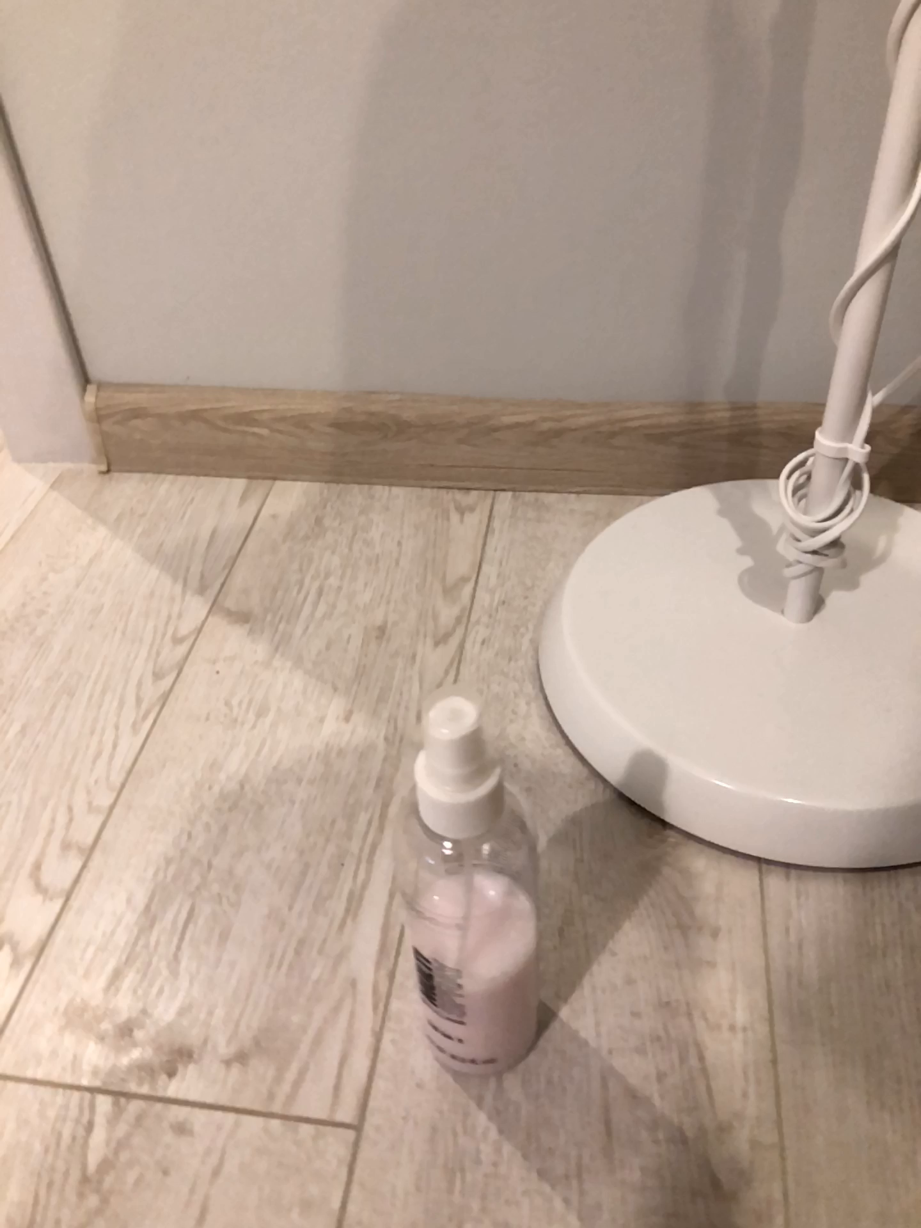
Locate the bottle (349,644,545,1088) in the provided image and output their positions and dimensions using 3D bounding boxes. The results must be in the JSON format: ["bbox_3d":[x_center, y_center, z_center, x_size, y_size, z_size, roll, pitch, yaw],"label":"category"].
[{"bbox_3d":[0.002,0.098,0.361,0.049,0.183,0.055,5,43,9],"label":"bottle"}]
